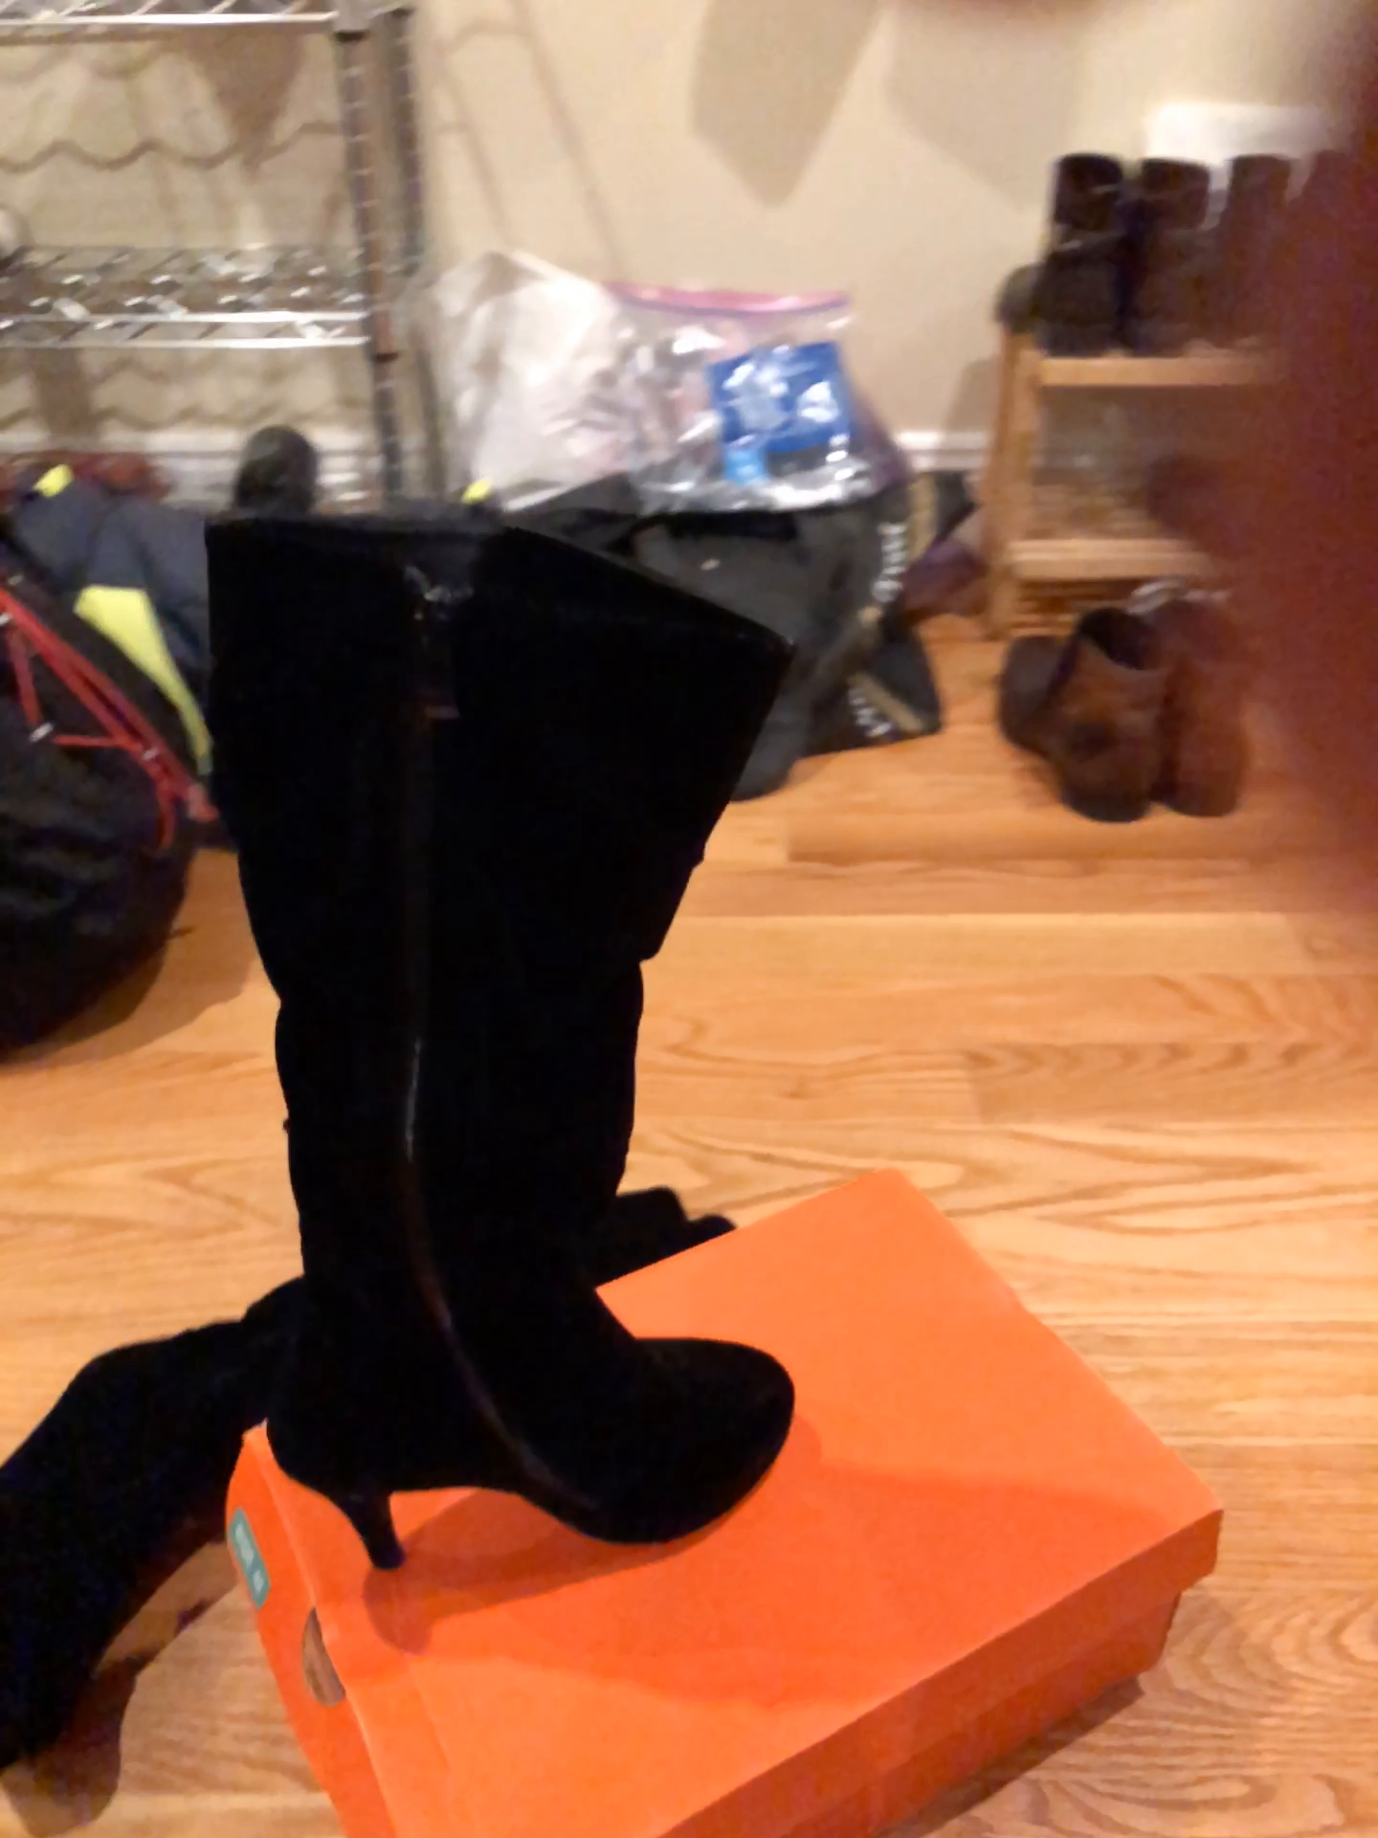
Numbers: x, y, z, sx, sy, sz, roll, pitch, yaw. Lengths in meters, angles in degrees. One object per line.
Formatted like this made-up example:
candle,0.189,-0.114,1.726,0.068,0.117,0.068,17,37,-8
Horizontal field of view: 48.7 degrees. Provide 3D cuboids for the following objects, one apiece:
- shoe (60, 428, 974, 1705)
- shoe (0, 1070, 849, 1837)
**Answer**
shoe,-0.044,0.064,0.500,0.216,0.397,0.089,-14,36,-21
shoe,-0.150,0.224,0.720,0.400,0.089,0.207,-17,36,-25
